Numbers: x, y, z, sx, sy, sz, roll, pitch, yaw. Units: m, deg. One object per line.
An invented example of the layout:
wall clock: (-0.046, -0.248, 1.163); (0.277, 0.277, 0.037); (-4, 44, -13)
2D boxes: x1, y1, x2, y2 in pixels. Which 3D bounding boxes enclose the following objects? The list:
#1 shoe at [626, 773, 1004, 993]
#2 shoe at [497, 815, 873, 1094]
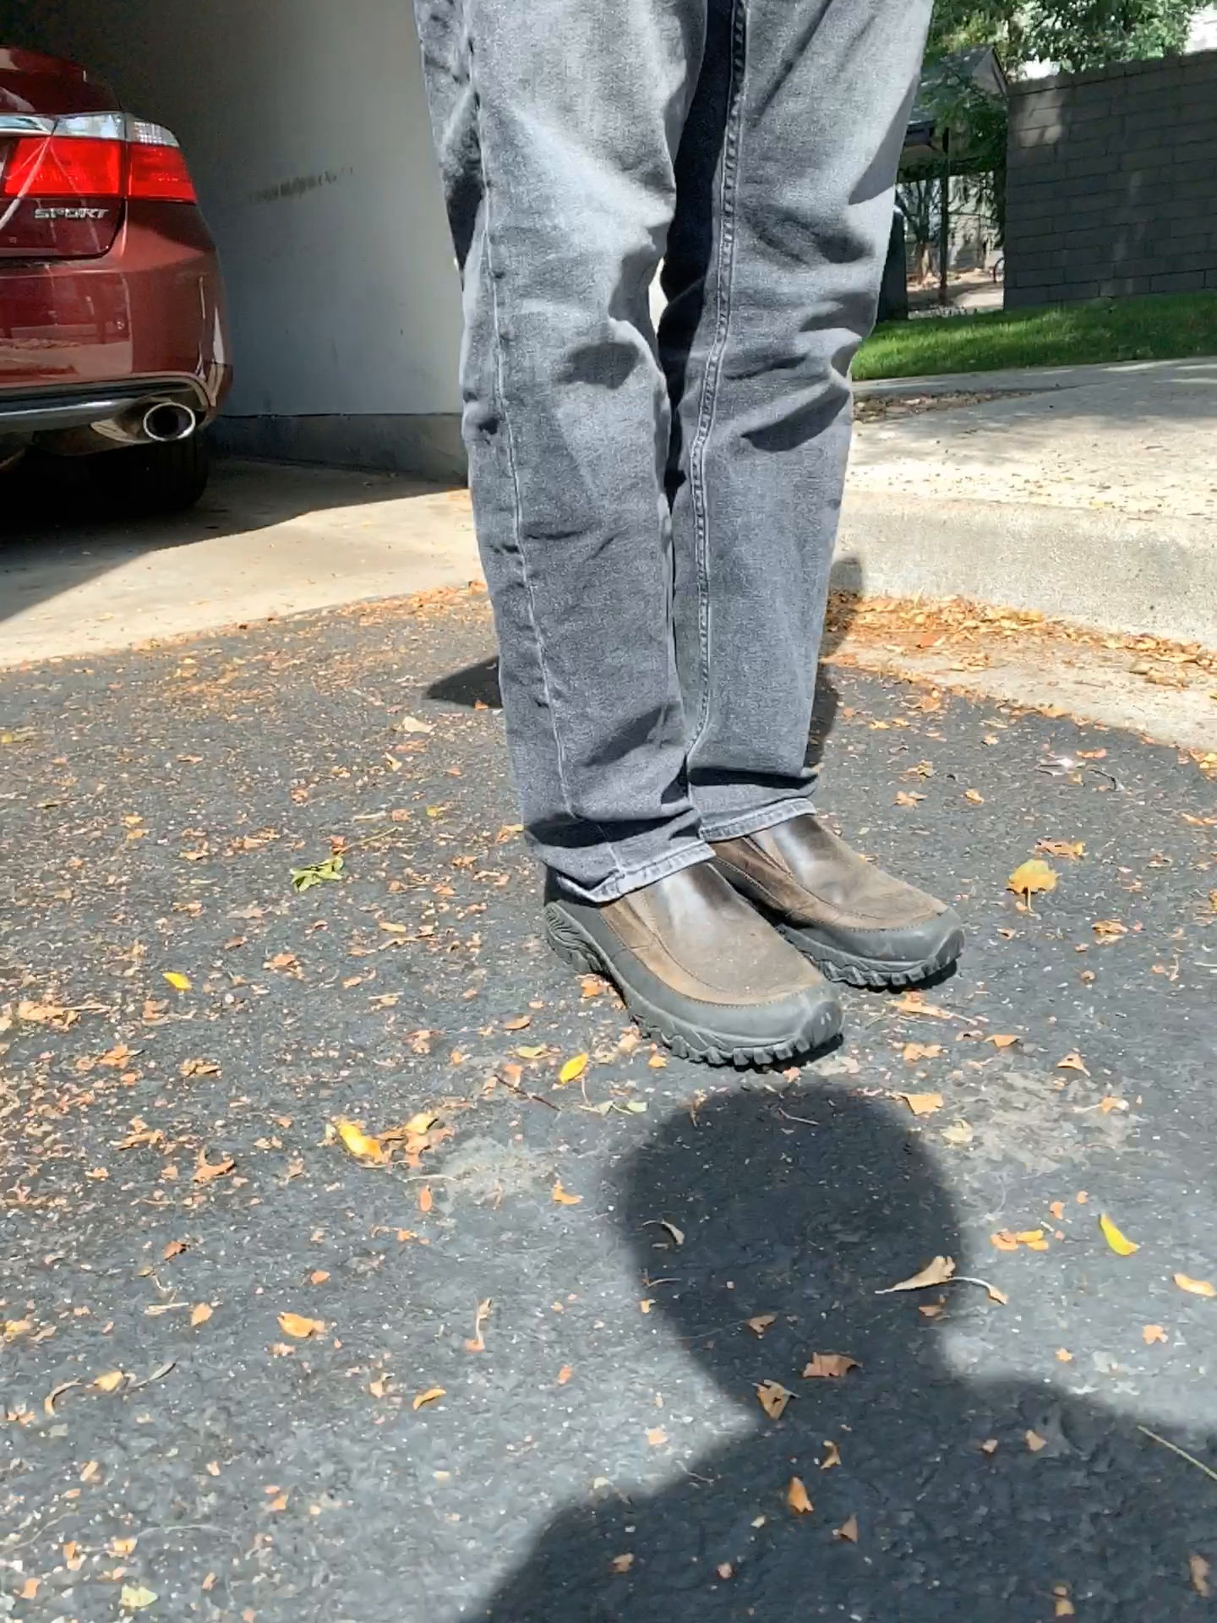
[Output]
shoe: (0.151, 0.045, 0.974); (0.110, 0.070, 0.291); (-18, 24, -35)
shoe: (0.044, 0.089, 0.894); (0.110, 0.070, 0.291); (-17, 25, -32)
